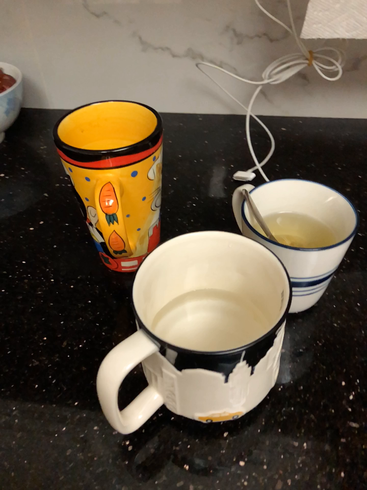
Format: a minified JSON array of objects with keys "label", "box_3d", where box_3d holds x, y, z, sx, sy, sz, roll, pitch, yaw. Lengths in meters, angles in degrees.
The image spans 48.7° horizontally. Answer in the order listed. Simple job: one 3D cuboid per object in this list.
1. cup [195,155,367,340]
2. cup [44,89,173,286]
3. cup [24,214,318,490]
[{"label":"cup","box_3d":[0.075,-0.004,0.345,0.080,0.080,0.121,-22,47,-19]},{"label":"cup","box_3d":[-0.055,-0.048,0.352,0.080,0.129,0.101,-5,44,-2]},{"label":"cup","box_3d":[-0.009,0.065,0.288,0.150,0.070,0.120,-28,49,-24]}]
